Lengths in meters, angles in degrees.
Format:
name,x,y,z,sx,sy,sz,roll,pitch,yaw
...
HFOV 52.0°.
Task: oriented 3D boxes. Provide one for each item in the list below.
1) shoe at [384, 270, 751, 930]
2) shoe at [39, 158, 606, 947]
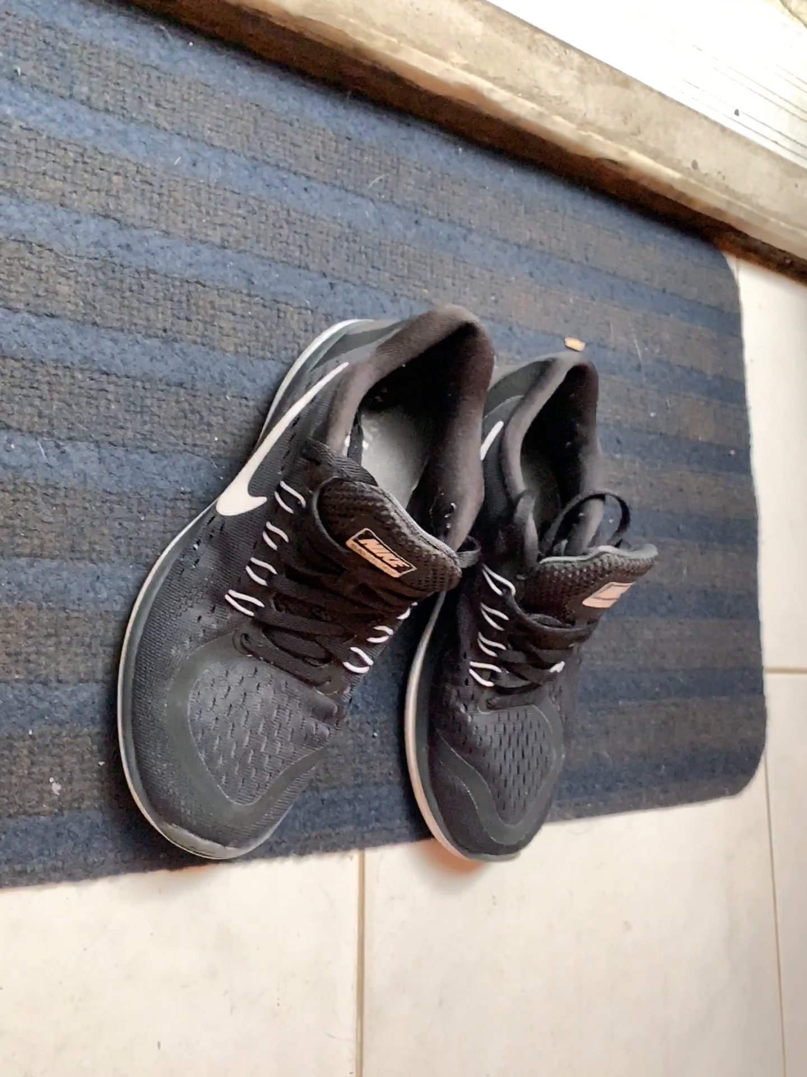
name,x,y,z,sx,sy,sz,roll,pitch,yaw
shoe,0.072,0.029,0.387,0.107,0.119,0.248,9,77,-31
shoe,-0.027,0.003,0.330,0.104,0.119,0.248,29,67,-25
